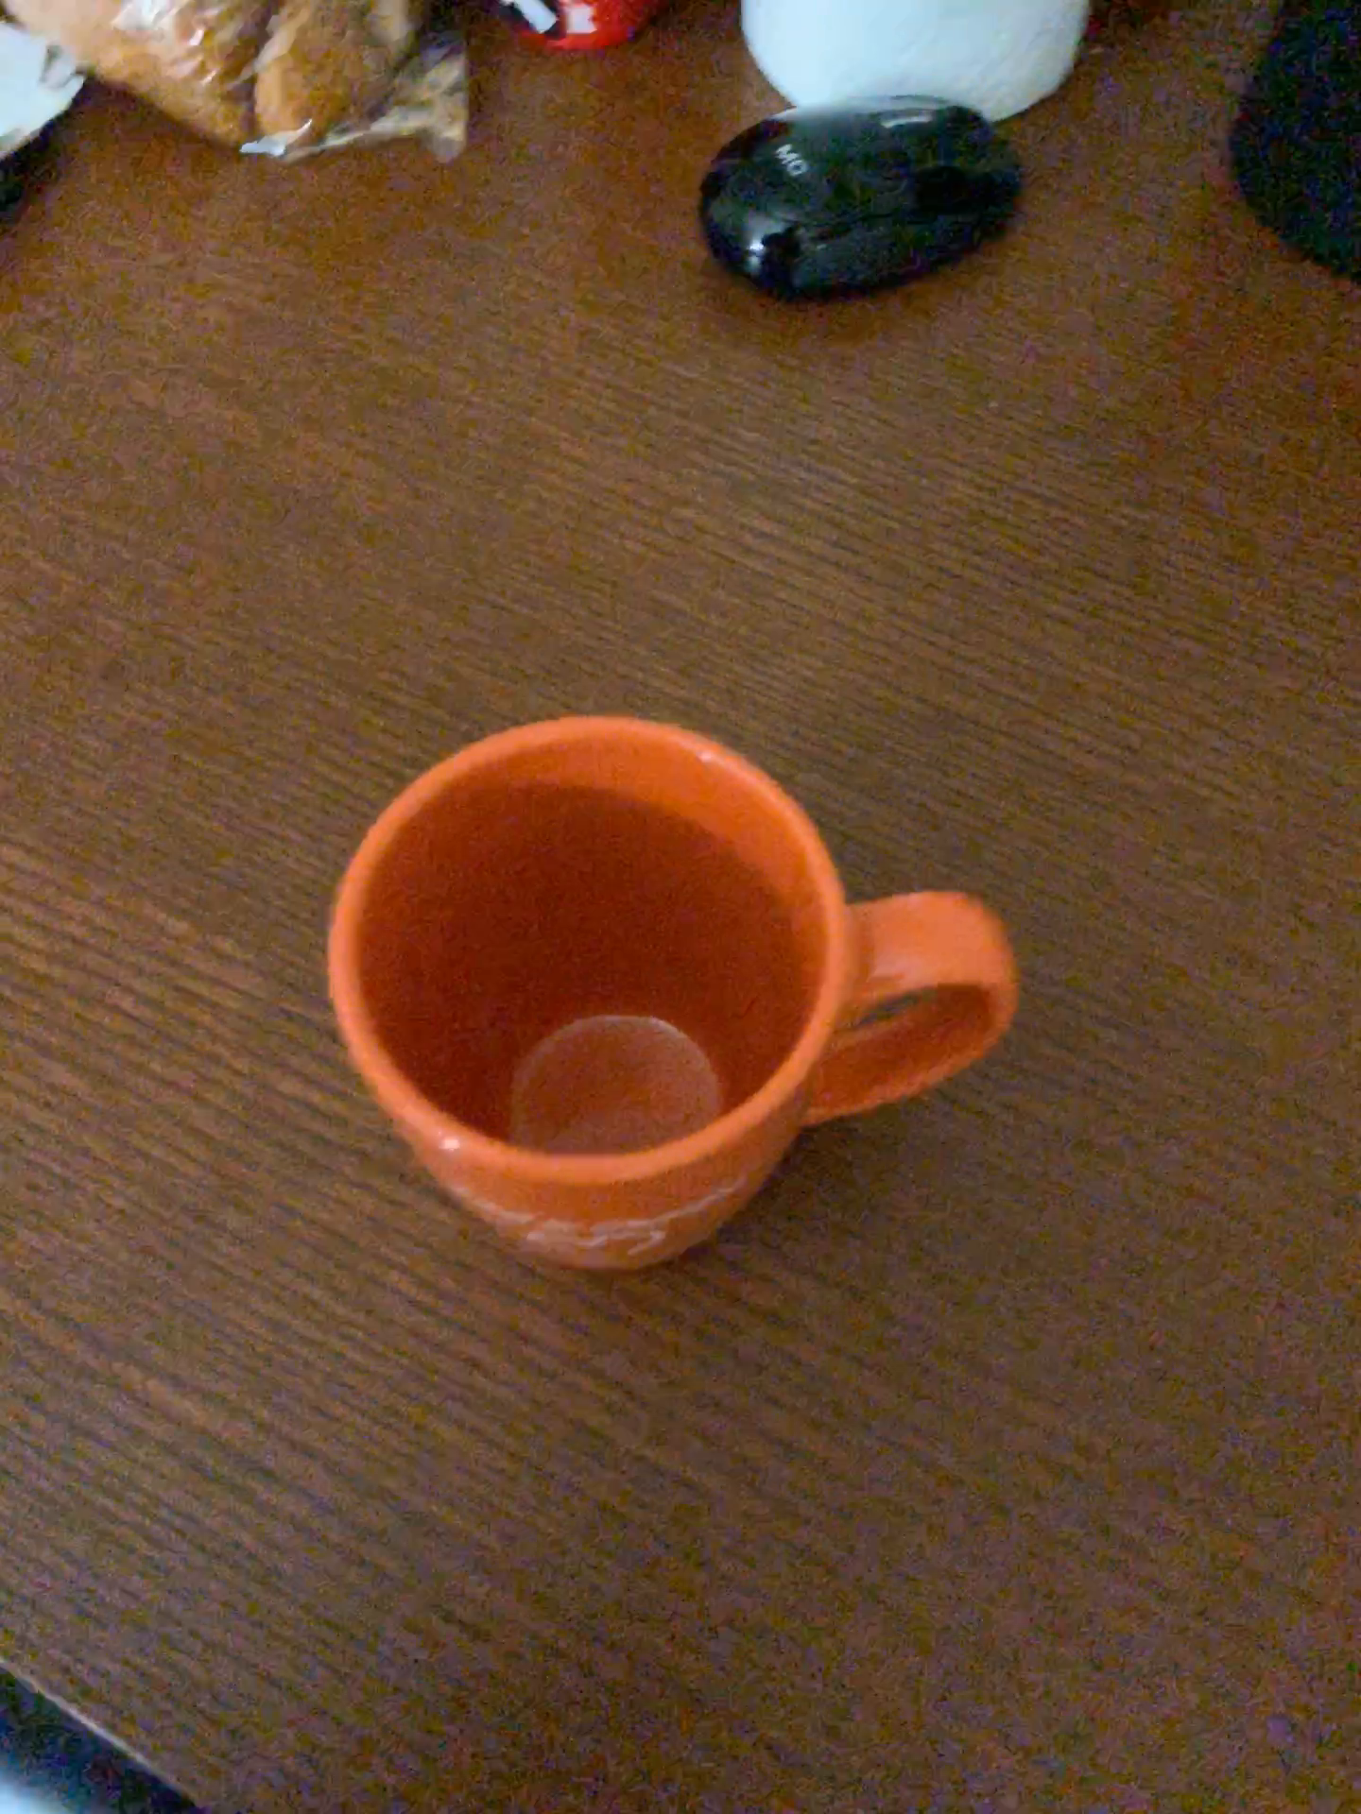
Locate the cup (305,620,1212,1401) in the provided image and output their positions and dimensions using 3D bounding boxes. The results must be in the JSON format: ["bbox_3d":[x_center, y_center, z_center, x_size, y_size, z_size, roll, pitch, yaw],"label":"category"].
[{"bbox_3d":[0.007,0.026,0.277,0.130,0.110,0.100,-9,64,-5],"label":"cup"}]
